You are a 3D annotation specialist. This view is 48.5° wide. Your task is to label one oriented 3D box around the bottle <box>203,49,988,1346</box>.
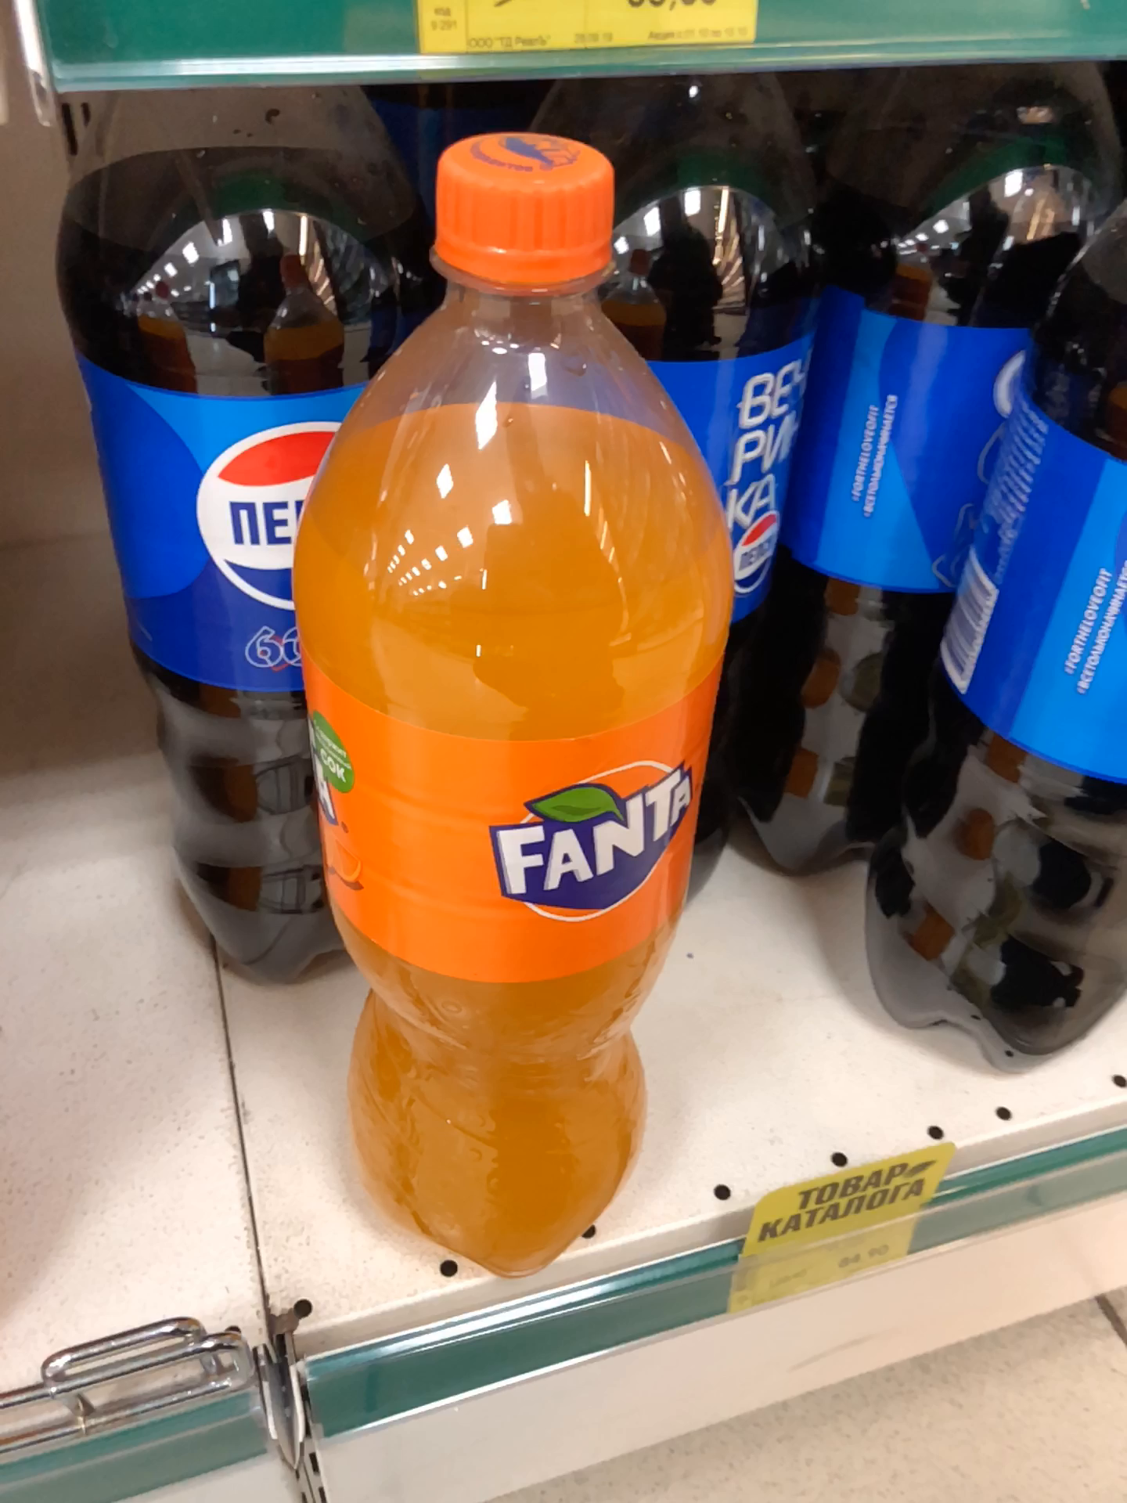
[{"bbox_3d":[-0.006,0.016,0.303,0.100,0.308,0.090,-13,44,-18],"label":"bottle"}]
